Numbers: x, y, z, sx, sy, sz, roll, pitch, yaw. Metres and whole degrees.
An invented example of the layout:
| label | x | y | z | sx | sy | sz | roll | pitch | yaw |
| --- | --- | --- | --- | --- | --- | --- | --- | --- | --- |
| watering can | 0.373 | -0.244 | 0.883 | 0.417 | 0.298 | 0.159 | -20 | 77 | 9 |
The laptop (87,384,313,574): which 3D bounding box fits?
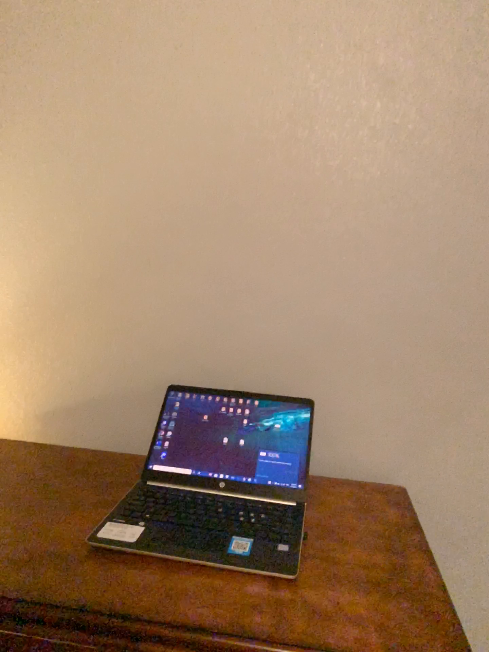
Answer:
| label | x | y | z | sx | sy | sz | roll | pitch | yaw |
| --- | --- | --- | --- | --- | --- | --- | --- | --- | --- |
| laptop | -0.047 | 0.239 | 0.907 | 0.317 | 0.153 | 0.368 | 5 | 7 | 10 |
